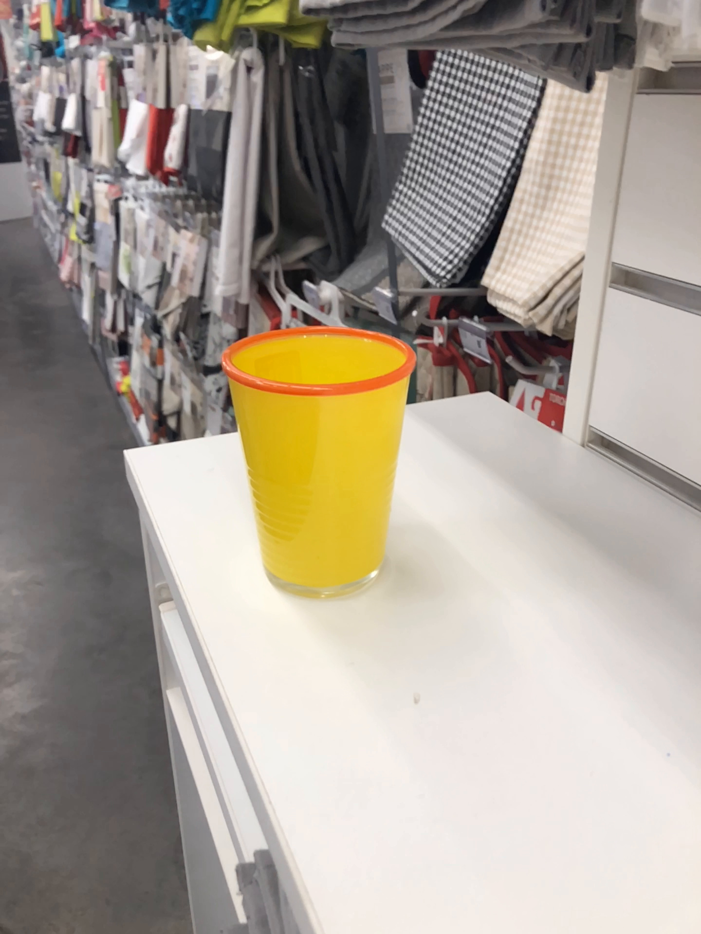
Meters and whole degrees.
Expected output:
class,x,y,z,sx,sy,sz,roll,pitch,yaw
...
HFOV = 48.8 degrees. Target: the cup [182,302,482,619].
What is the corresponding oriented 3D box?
class,x,y,z,sx,sy,sz,roll,pitch,yaw
cup,-0.008,-0.010,0.334,0.089,0.094,0.084,0,25,0
